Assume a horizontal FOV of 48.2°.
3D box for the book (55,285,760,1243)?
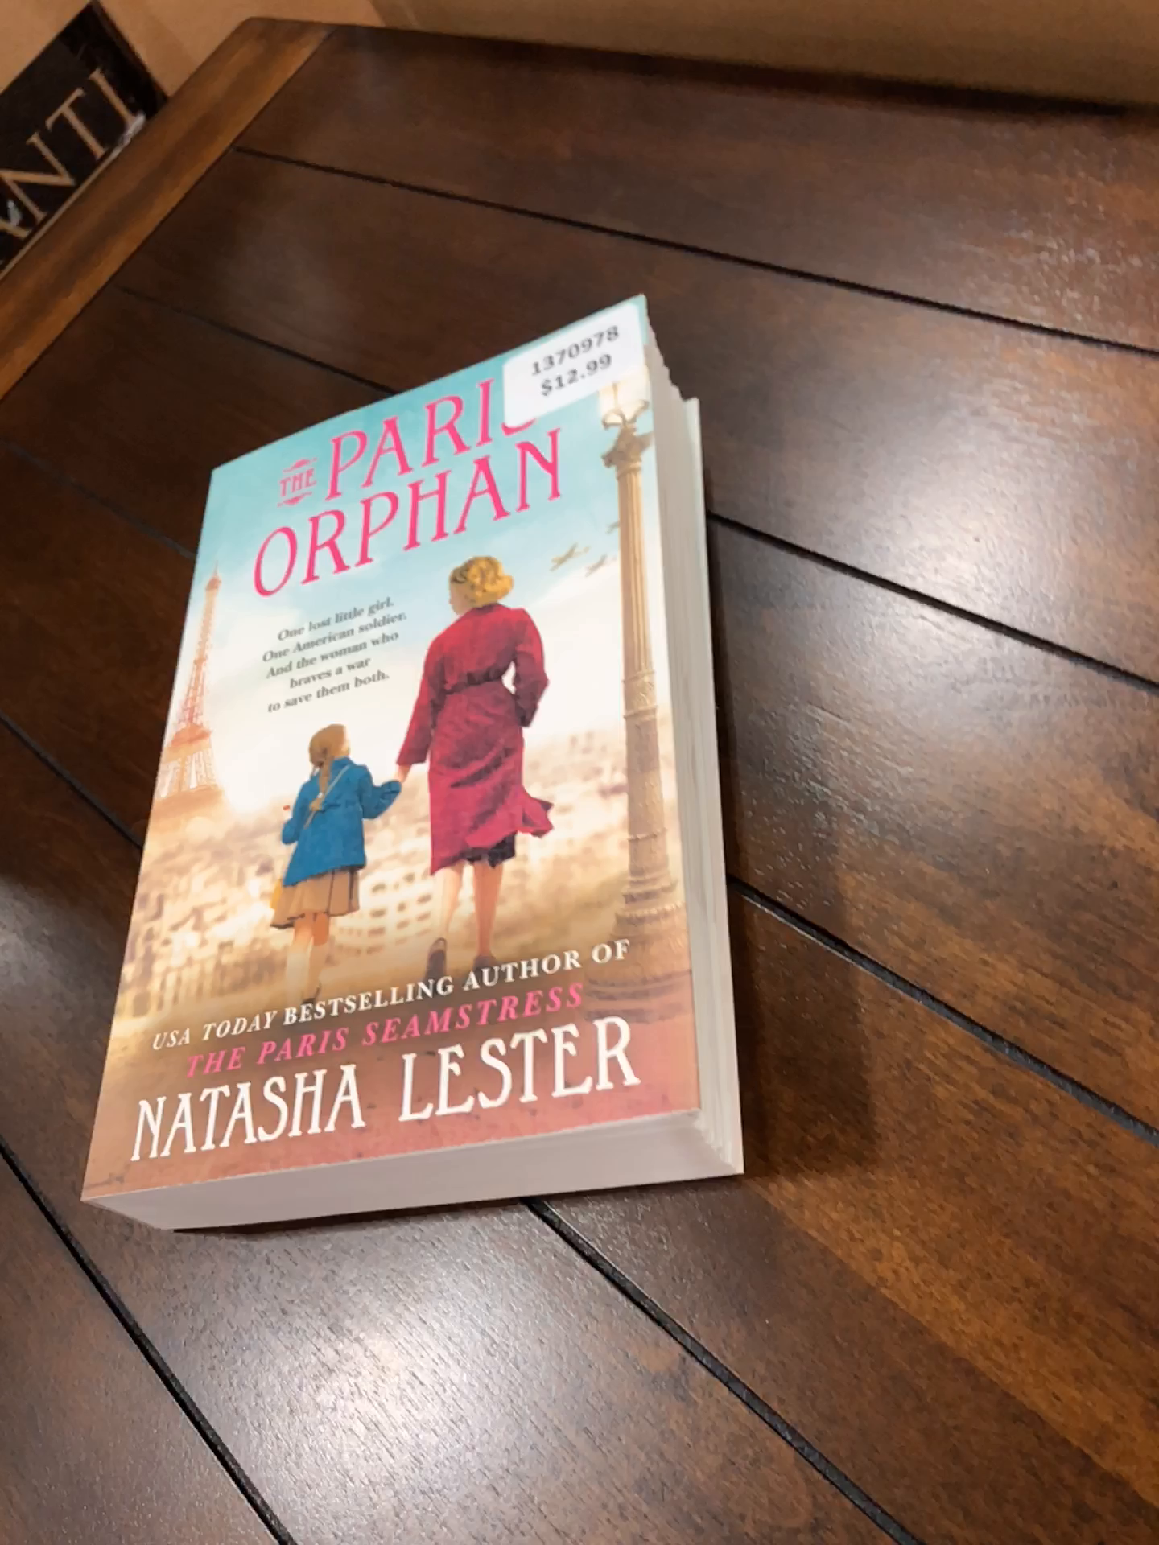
[{"bbox_3d":[-0.036,-0.006,0.294,0.134,0.035,0.199,-14,57,22],"label":"book"}]
